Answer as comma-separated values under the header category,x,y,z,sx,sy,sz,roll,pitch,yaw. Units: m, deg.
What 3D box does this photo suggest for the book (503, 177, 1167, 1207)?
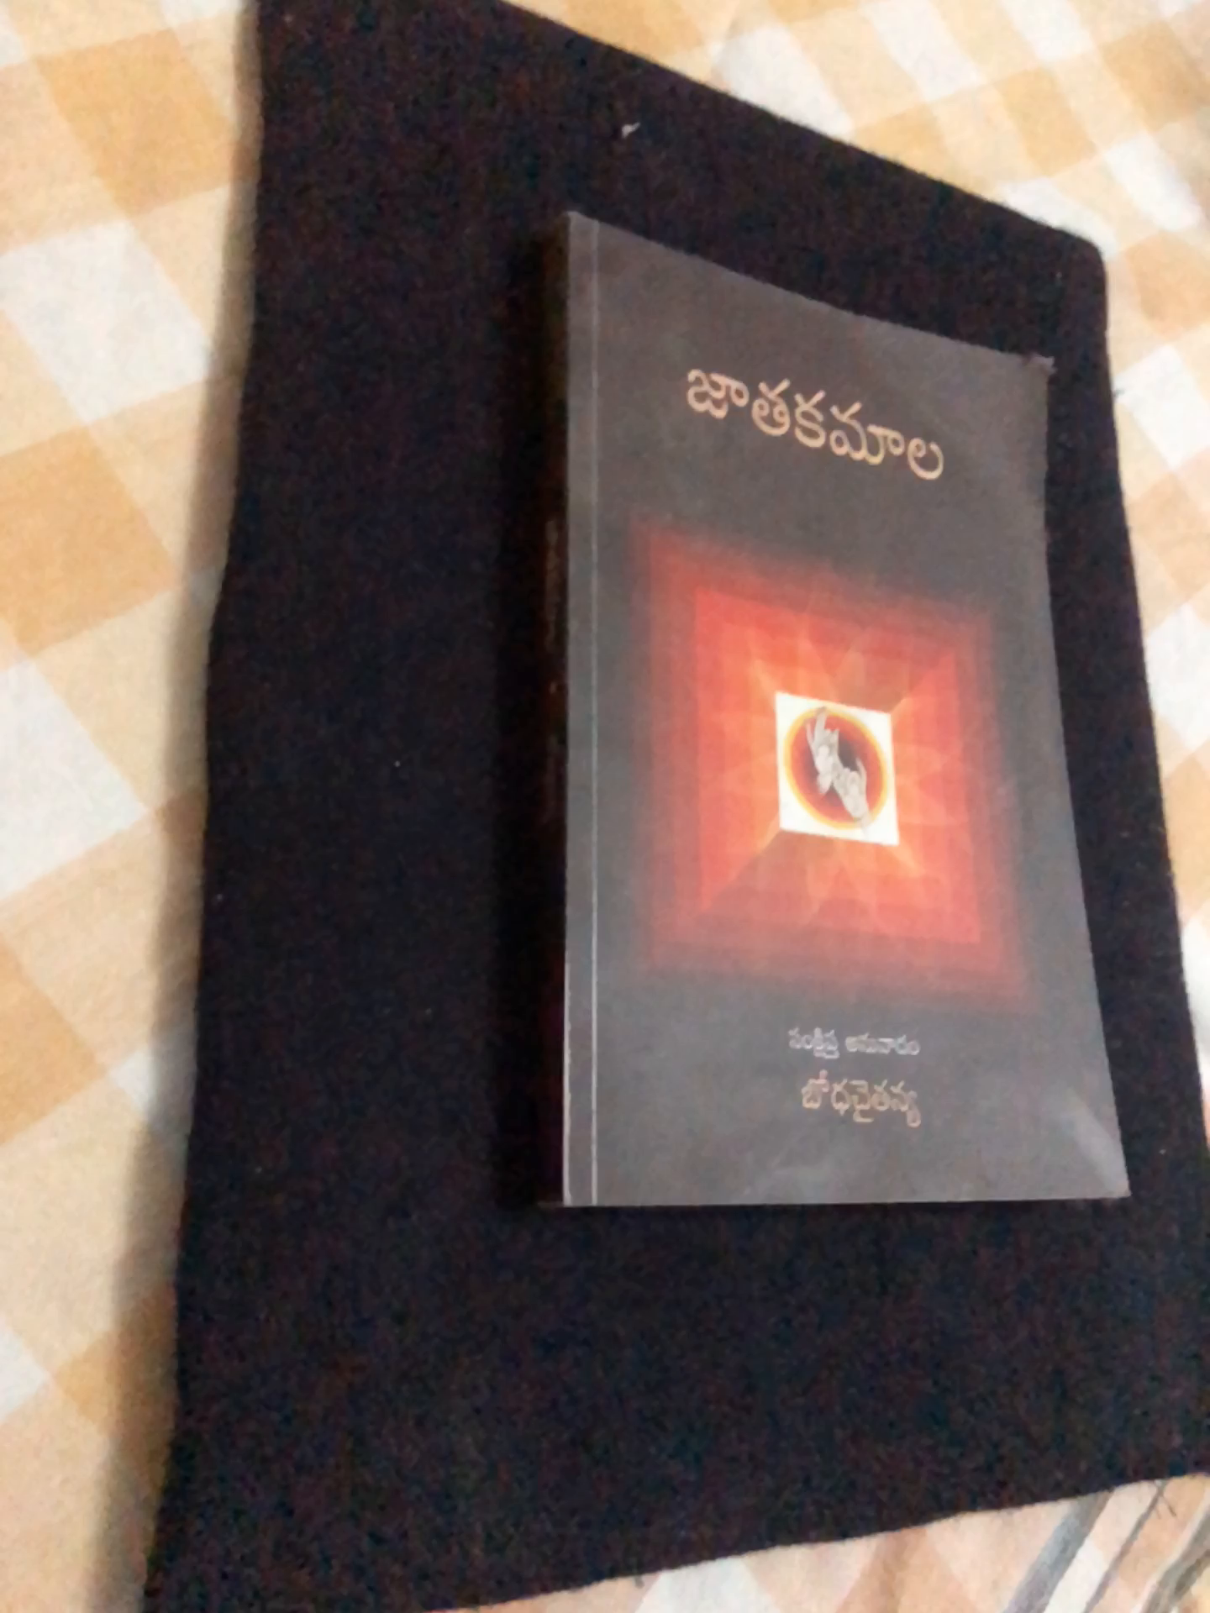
category,x,y,z,sx,sy,sz,roll,pitch,yaw
book,0.050,-0.023,0.294,0.140,0.020,0.210,6,74,-21
